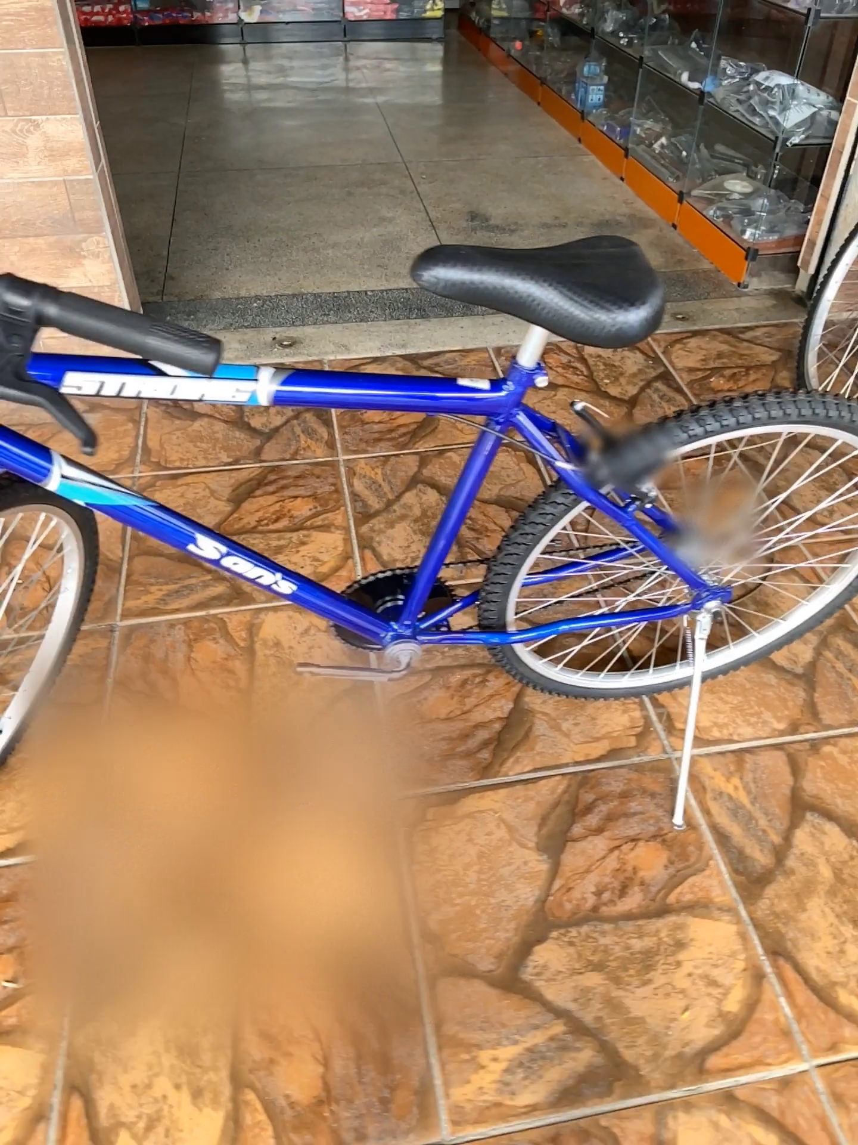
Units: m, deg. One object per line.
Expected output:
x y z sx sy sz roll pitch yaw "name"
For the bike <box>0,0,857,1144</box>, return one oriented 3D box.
-0.002 0.090 0.934 1.526 1.013 0.574 -17 43 -14 "bike"
